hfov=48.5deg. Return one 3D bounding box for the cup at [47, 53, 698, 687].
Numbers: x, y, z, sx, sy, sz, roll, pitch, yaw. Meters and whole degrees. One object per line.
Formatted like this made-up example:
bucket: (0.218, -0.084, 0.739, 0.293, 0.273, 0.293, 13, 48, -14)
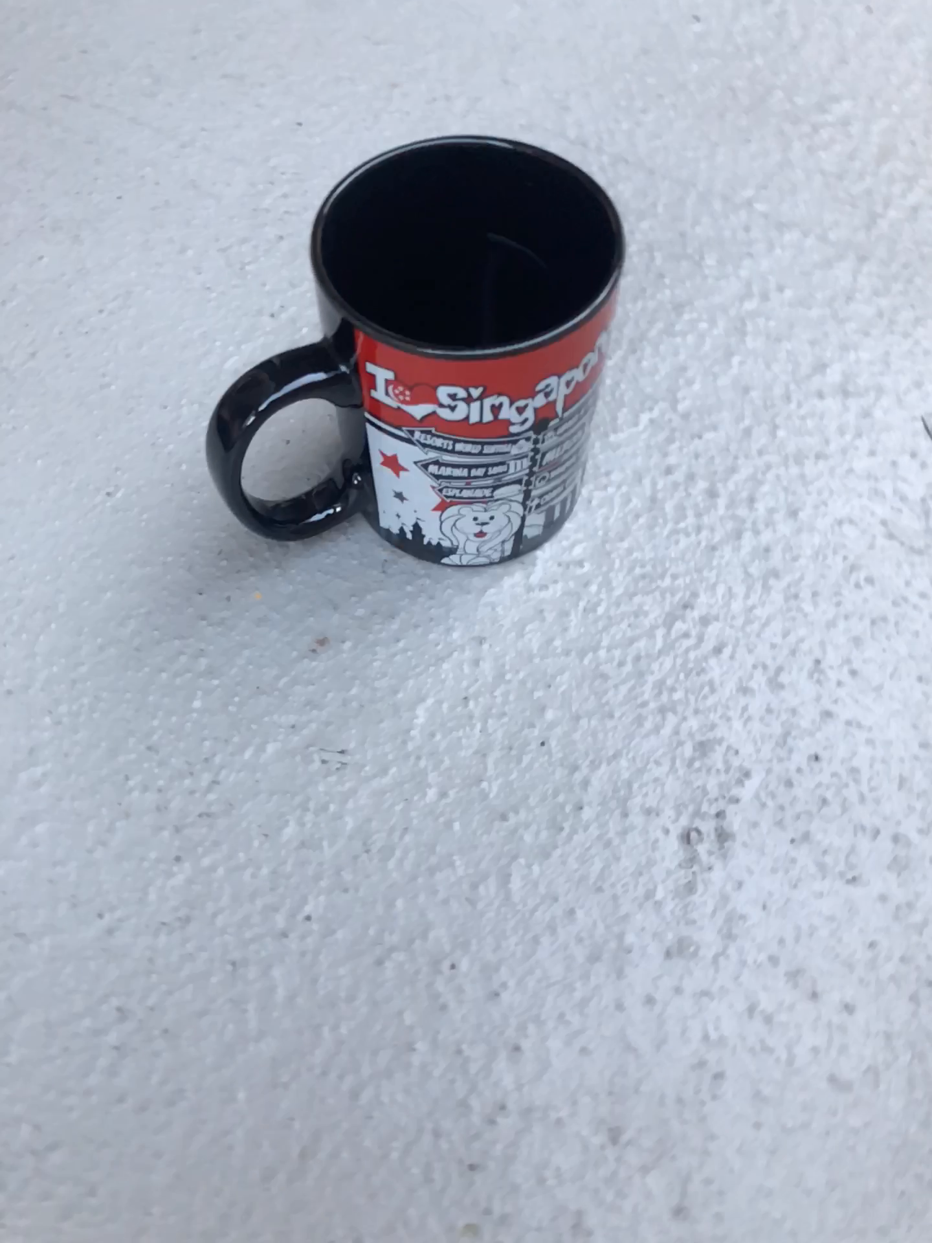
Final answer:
cup: (-0.022, -0.066, 0.290, 0.130, 0.110, 0.080, -26, 63, -15)
